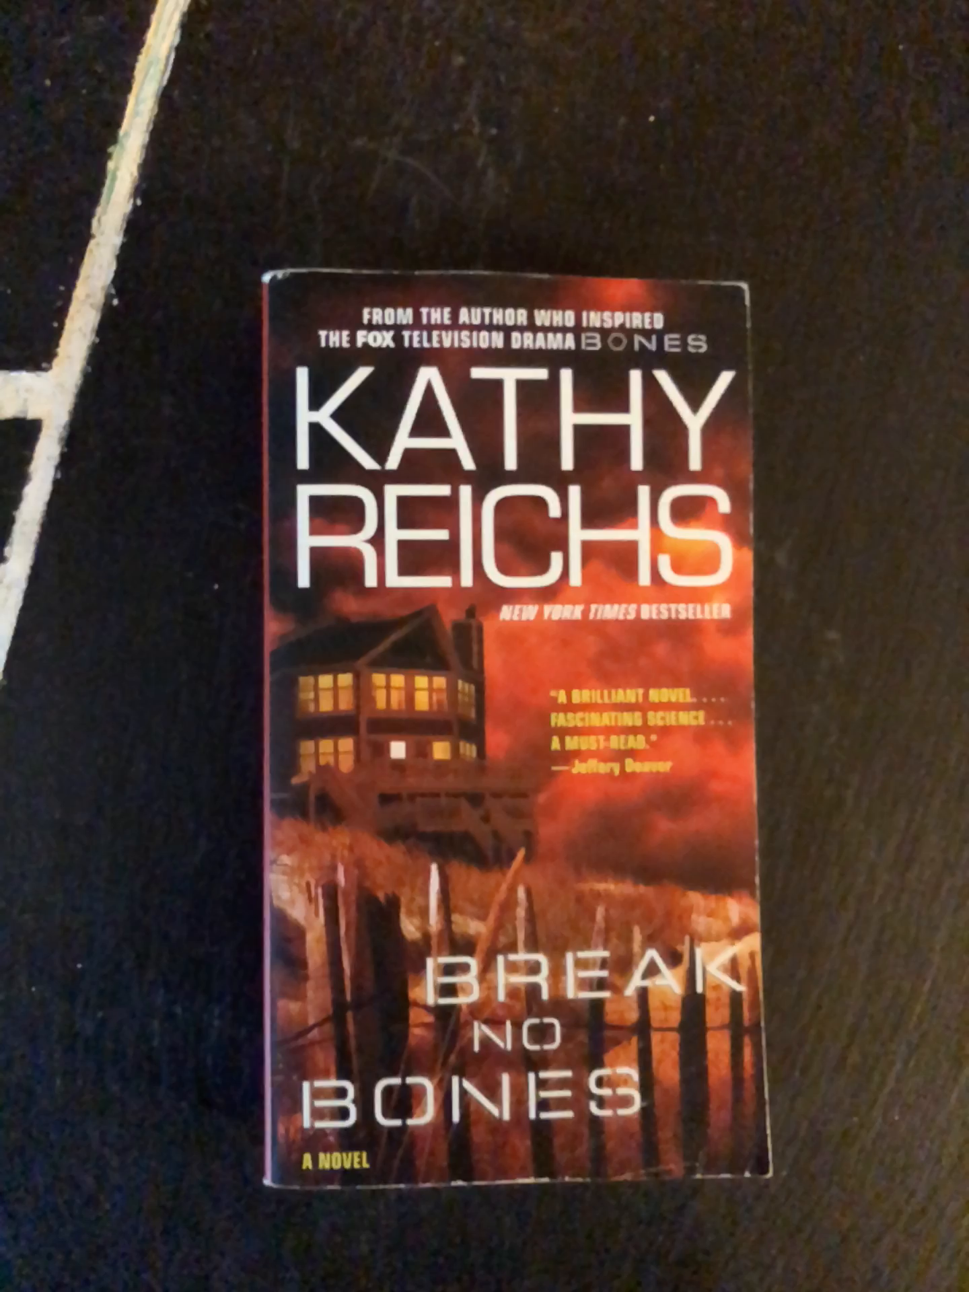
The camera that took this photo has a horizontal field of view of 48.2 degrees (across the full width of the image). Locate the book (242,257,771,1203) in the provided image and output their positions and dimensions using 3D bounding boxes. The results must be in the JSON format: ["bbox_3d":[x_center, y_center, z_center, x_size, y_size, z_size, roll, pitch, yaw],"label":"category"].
[{"bbox_3d":[0.004,0.016,0.236,0.108,0.030,0.189,0,89,-5],"label":"book"}]
